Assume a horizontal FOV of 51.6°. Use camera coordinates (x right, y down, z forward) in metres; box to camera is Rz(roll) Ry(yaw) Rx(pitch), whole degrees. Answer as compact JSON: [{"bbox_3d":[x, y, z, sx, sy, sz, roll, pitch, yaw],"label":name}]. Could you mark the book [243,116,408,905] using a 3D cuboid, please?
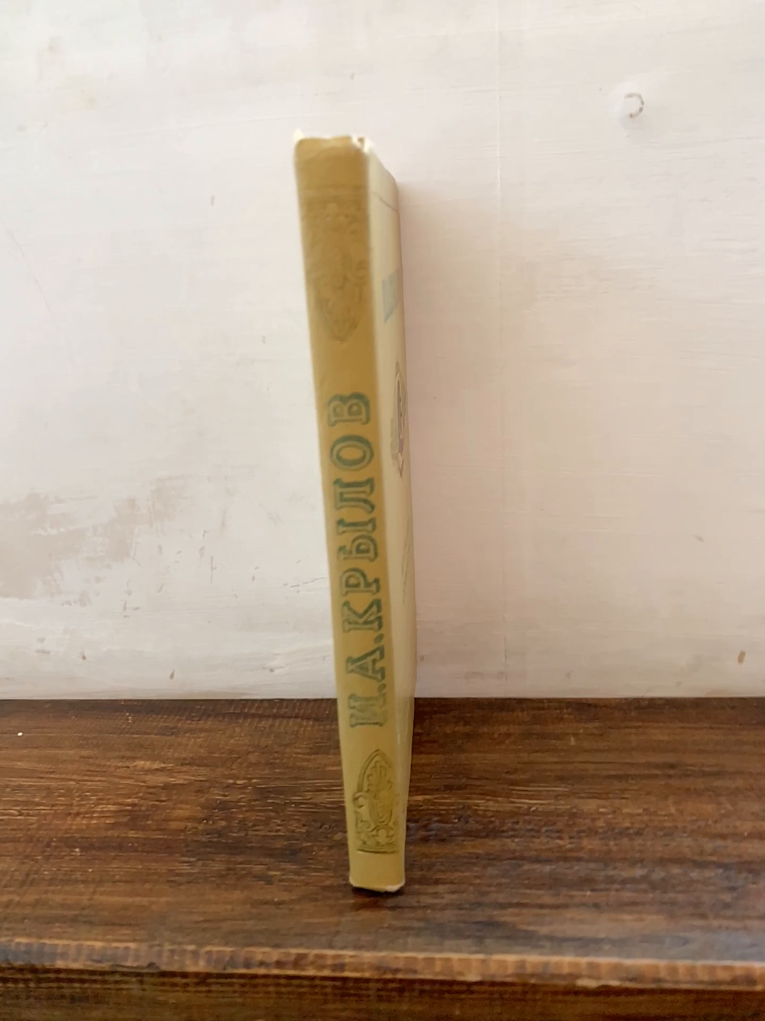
[{"bbox_3d":[-0.009,-0.005,0.261,0.020,0.205,0.132,-2,17,5],"label":"book"}]
